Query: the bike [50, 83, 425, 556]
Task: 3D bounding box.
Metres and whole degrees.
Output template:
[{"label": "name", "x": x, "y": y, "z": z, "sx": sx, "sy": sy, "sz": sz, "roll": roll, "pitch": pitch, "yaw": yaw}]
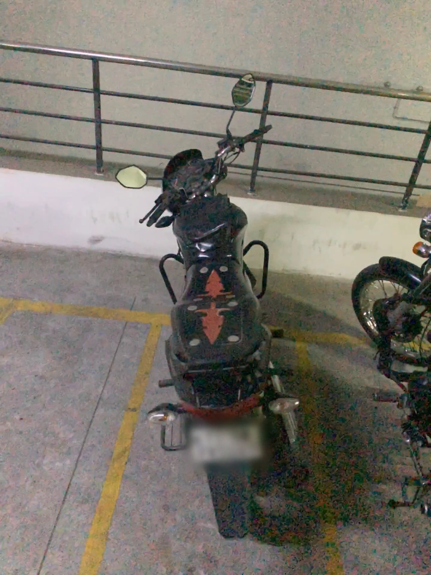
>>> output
[{"label": "bike", "x": -0.149, "y": -0.057, "z": 1.829, "sx": 0.755, "sy": 1.067, "sz": 1.684, "roll": 0, "pitch": 35, "yaw": -12}]
